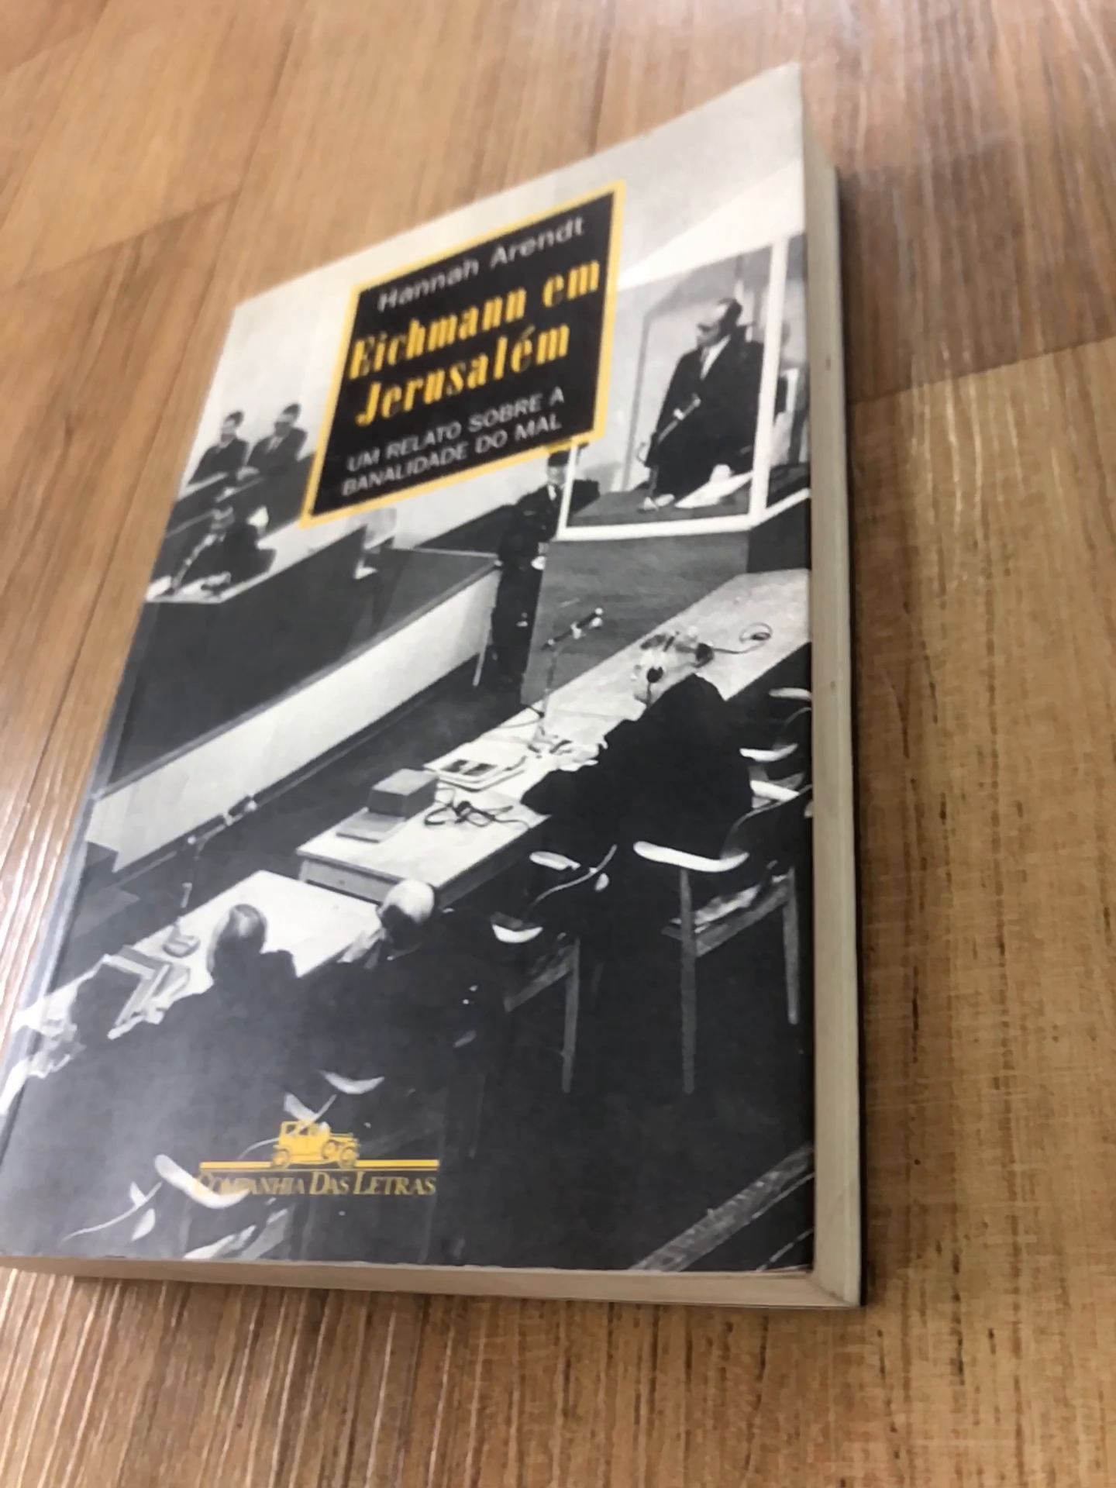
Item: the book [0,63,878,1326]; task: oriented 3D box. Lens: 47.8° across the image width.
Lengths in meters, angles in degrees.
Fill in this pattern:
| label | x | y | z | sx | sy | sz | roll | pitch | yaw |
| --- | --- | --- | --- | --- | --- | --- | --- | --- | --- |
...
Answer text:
| label | x | y | z | sx | sy | sz | roll | pitch | yaw |
| --- | --- | --- | --- | --- | --- | --- | --- | --- | --- |
| book | -0.023 | -0.016 | 0.215 | 0.140 | 0.030 | 0.201 | -10 | 57 | 26 |
